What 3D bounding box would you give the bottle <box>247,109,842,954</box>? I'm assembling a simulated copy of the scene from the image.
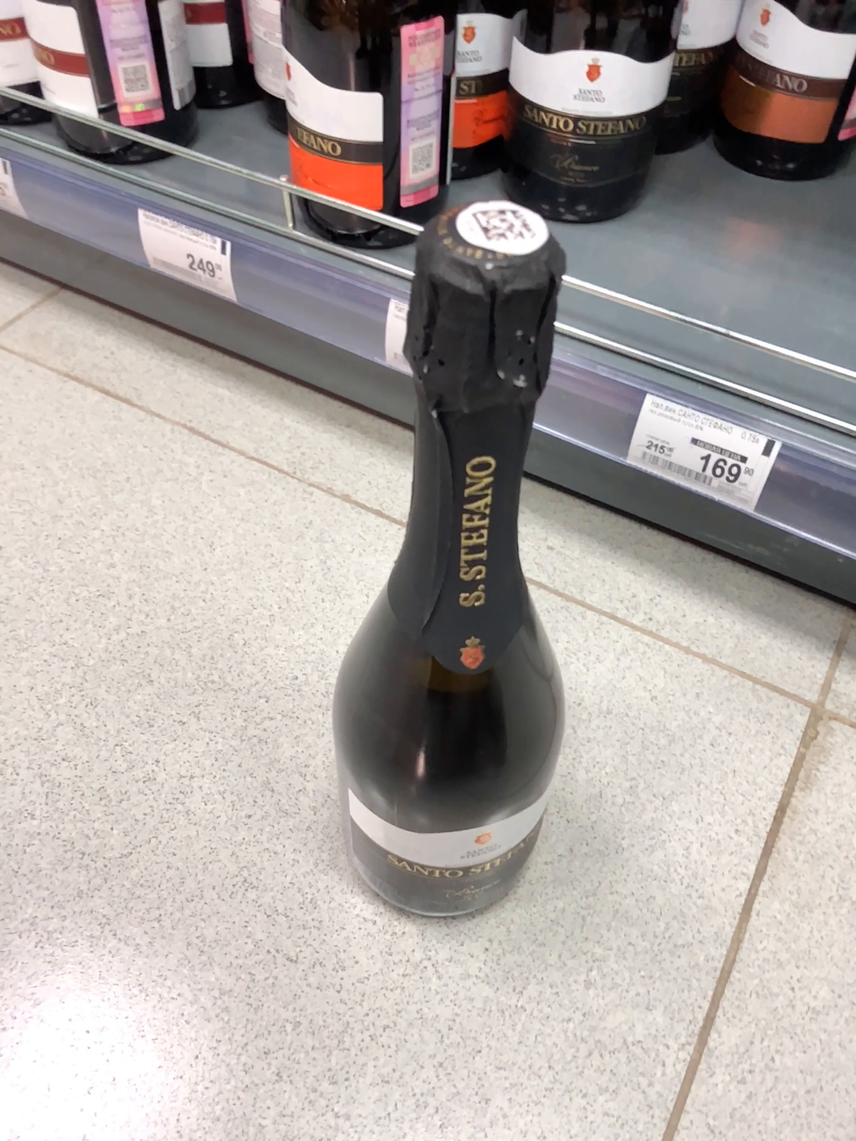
[{"bbox_3d":[0.015,0.019,0.324,0.110,0.298,0.100,1,49,-1],"label":"bottle"}]
